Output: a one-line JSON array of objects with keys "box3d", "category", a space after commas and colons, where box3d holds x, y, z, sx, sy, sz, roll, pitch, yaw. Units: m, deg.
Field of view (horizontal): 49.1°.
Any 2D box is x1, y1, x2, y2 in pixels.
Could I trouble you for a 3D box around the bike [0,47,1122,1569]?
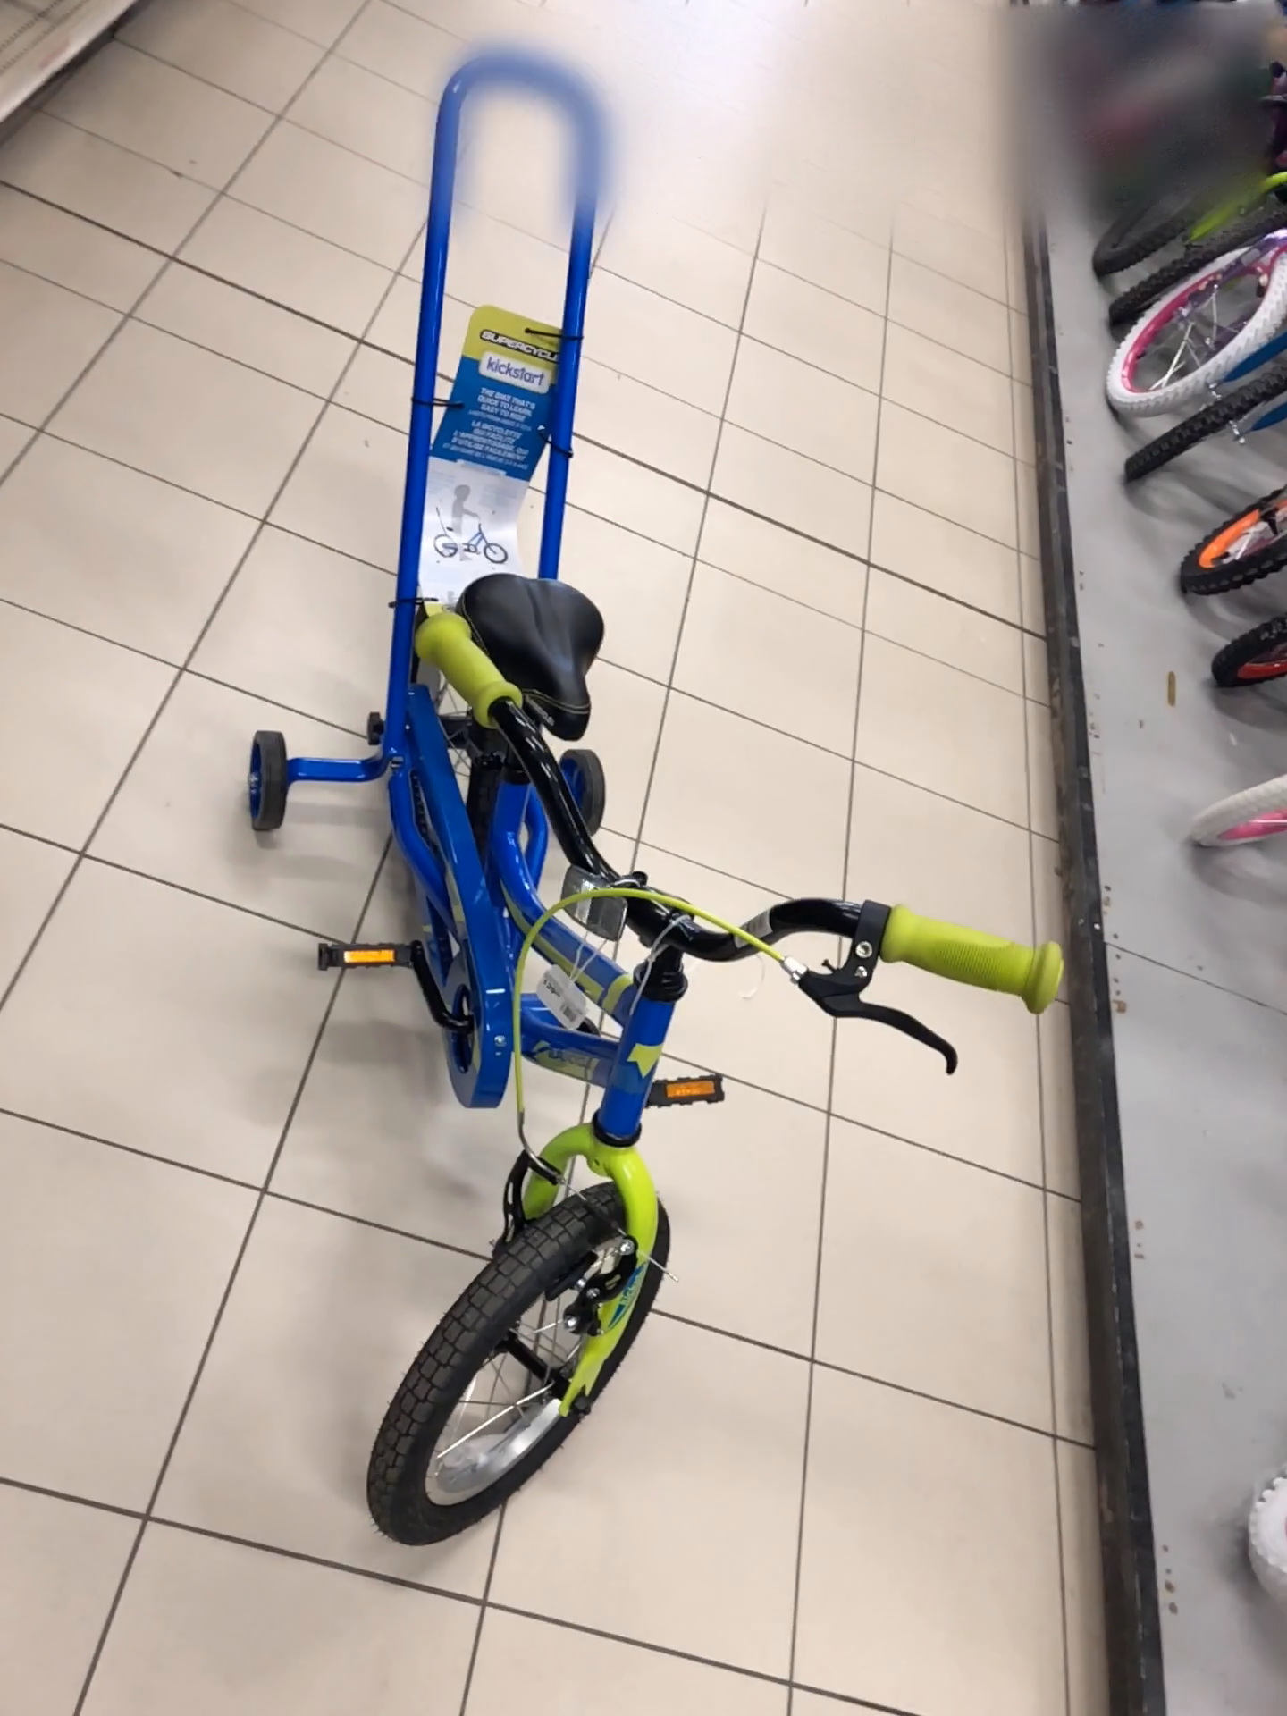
[{"box3d": [-0.181, -0.031, 1.193, 0.538, 0.763, 0.957, 10, 50, -21], "category": "bike"}]
